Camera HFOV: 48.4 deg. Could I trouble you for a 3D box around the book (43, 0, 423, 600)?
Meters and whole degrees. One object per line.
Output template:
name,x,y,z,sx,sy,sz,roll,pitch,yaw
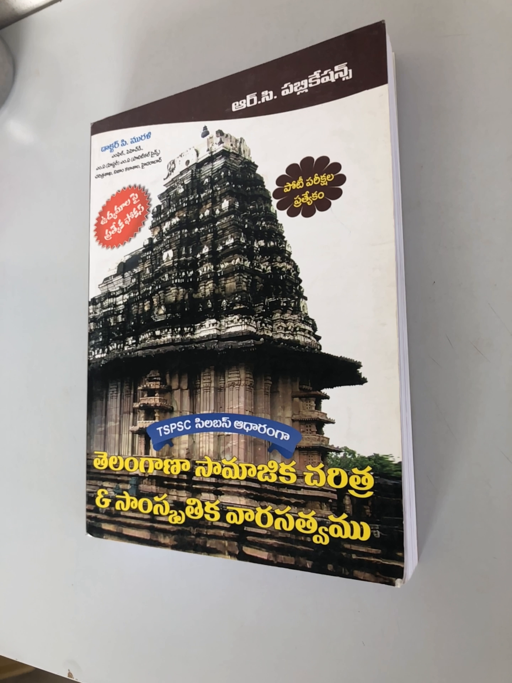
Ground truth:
book,-0.019,-0.018,0.273,0.181,0.040,0.230,-3,84,29
